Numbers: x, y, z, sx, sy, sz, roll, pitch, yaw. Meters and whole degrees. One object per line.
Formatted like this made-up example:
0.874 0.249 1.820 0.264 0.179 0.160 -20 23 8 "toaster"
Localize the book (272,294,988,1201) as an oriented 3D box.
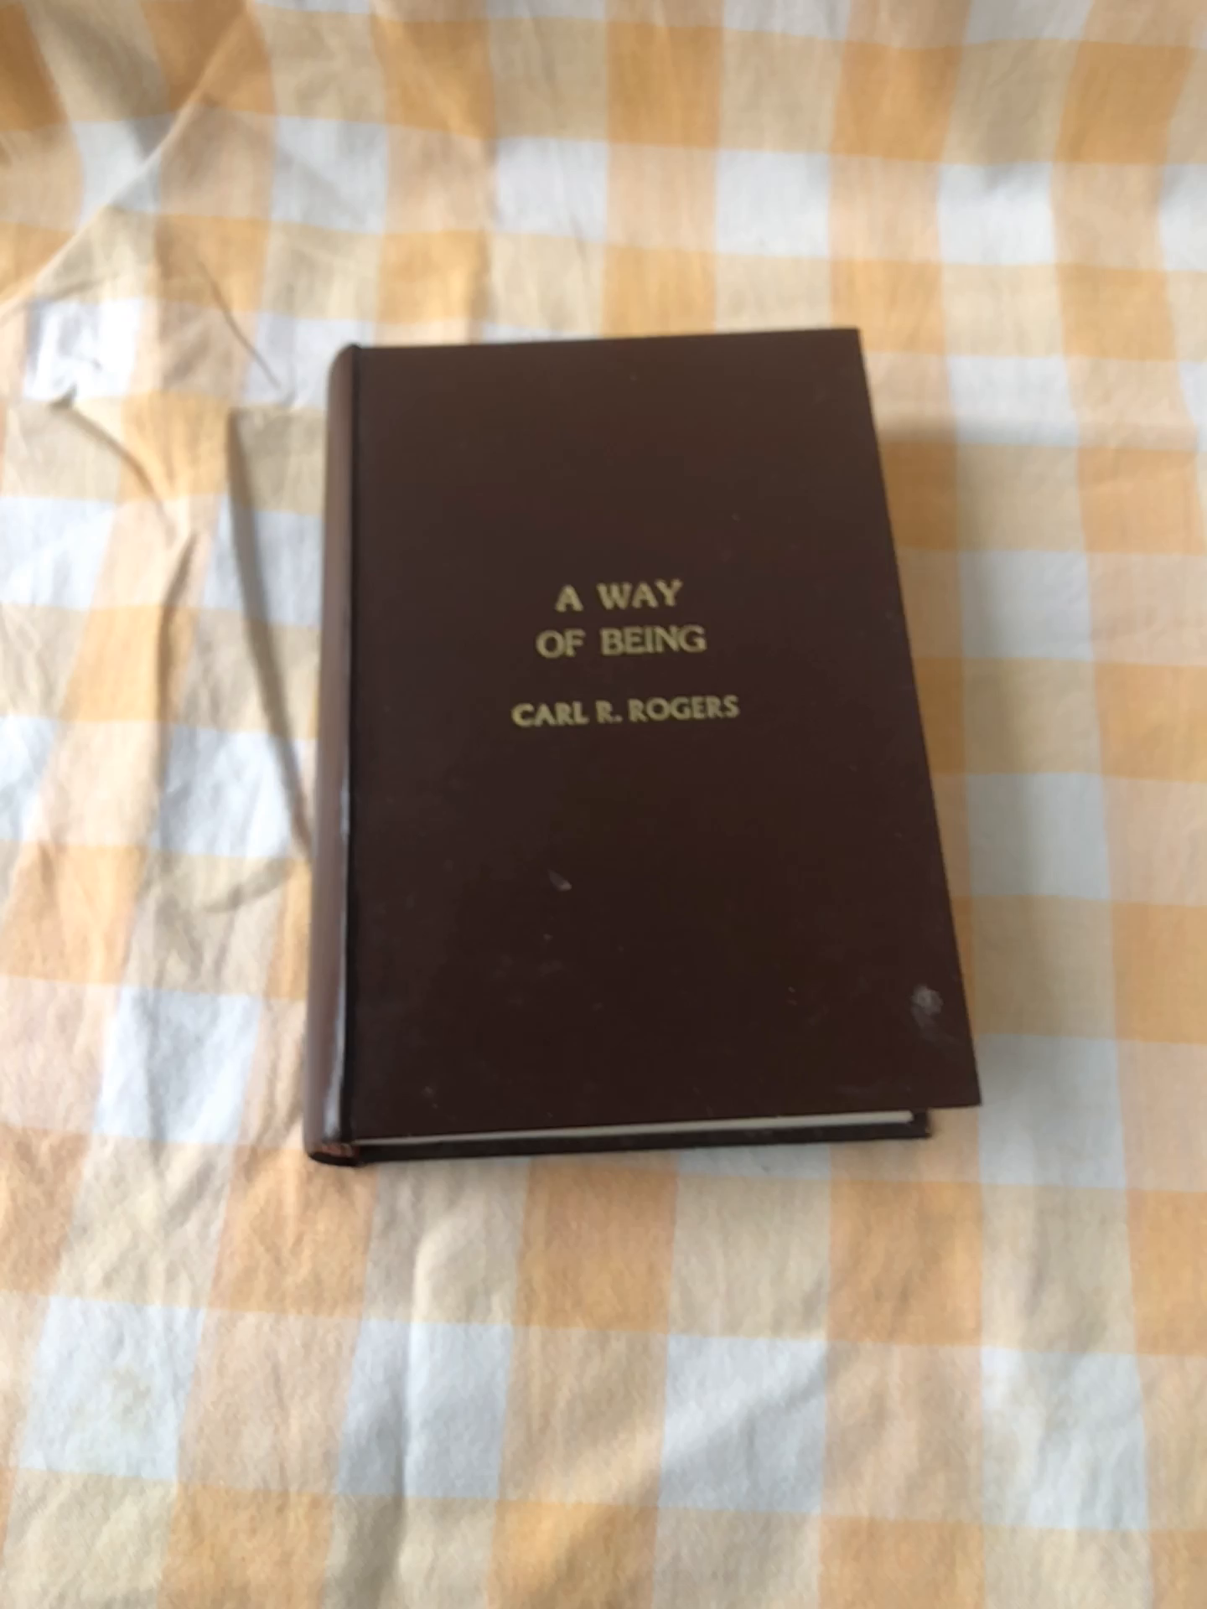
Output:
0.000 -0.019 0.331 0.140 0.060 0.210 -3 68 -1 "book"
